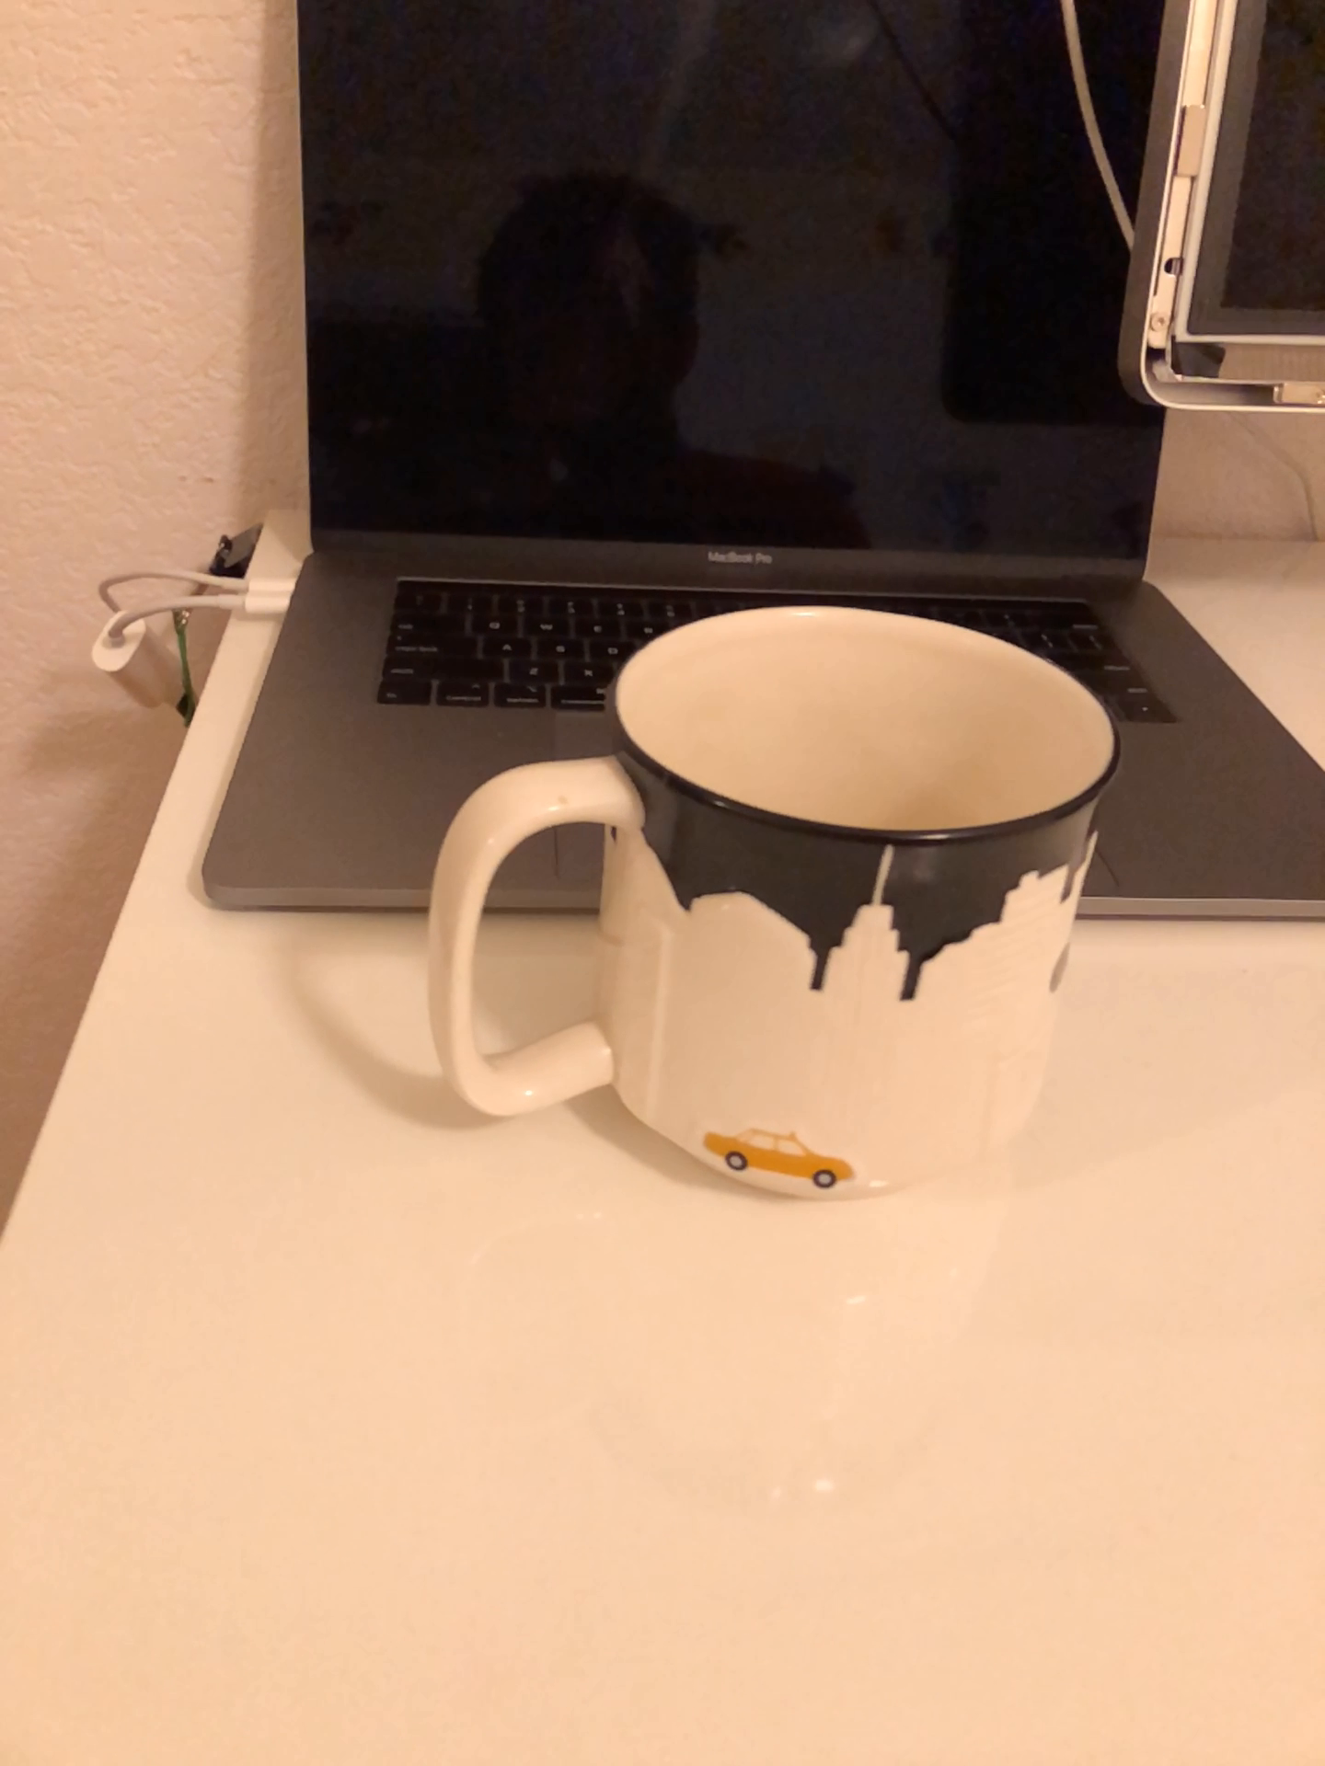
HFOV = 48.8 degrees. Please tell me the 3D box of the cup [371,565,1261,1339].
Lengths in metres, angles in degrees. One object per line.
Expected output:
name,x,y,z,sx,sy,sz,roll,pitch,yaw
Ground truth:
cup,0.023,0.007,0.322,0.150,0.109,0.100,-9,35,-18
